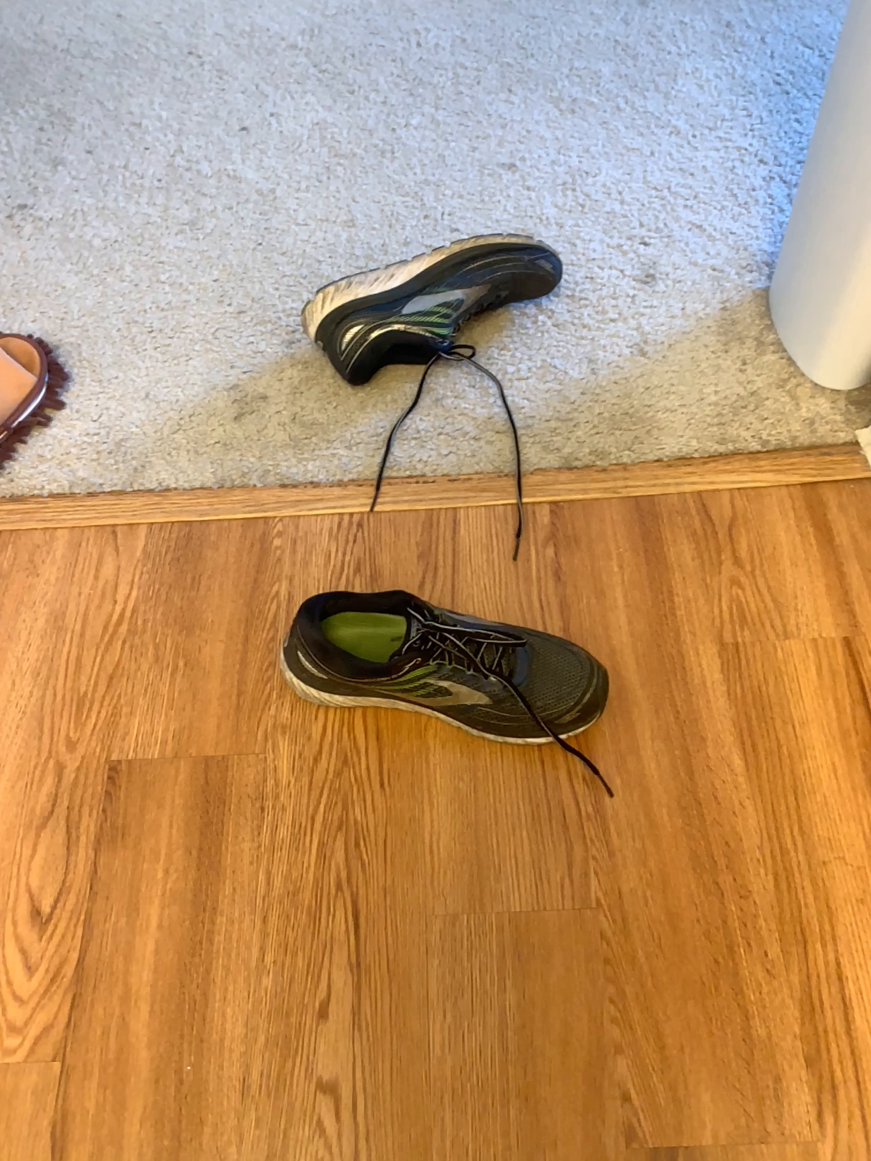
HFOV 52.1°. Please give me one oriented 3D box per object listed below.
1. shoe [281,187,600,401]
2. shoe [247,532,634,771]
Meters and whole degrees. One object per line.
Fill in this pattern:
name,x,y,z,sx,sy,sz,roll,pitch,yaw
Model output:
shoe,0.003,-0.312,0.978,0.310,0.110,0.120,-16,76,-7
shoe,0.008,0.065,0.809,0.311,0.122,0.120,10,60,8
